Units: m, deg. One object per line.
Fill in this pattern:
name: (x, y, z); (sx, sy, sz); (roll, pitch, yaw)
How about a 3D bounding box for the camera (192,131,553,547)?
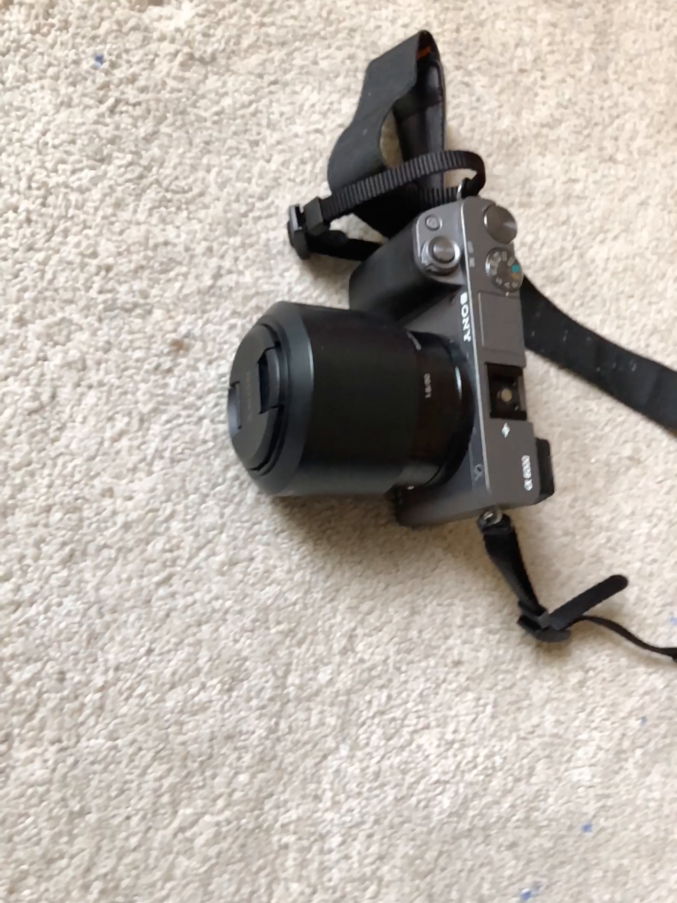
camera: (0.007, -0.030, 0.272); (0.100, 0.070, 0.120); (3, 75, -27)
